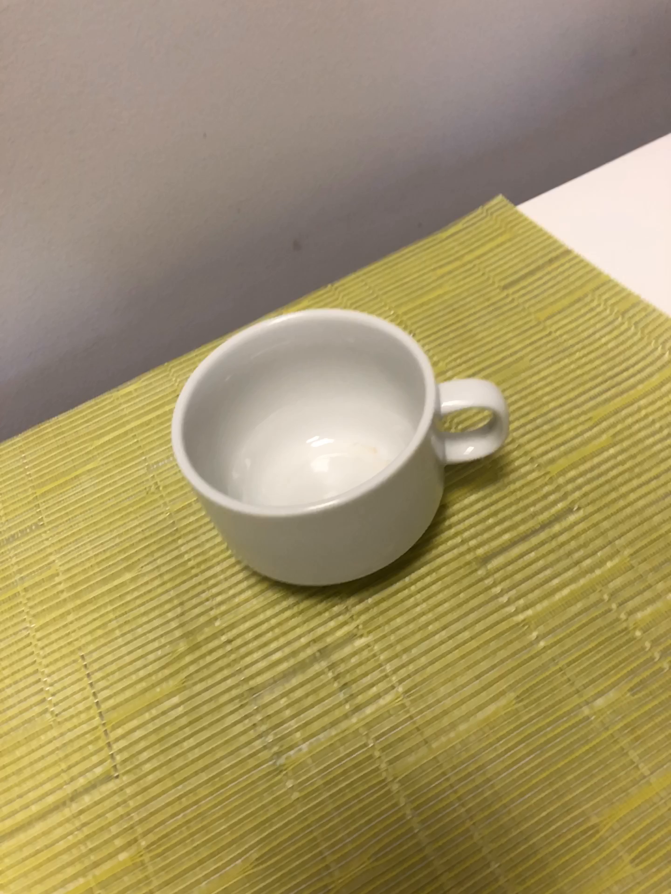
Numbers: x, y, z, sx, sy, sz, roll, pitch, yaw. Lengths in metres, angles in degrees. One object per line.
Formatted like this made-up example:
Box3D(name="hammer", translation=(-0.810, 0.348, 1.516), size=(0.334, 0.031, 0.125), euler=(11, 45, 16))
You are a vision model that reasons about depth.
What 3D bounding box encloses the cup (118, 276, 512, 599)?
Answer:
Box3D(name="cup", translation=(0.002, -0.004, 0.251), size=(0.110, 0.057, 0.086), euler=(0, 51, 14))
